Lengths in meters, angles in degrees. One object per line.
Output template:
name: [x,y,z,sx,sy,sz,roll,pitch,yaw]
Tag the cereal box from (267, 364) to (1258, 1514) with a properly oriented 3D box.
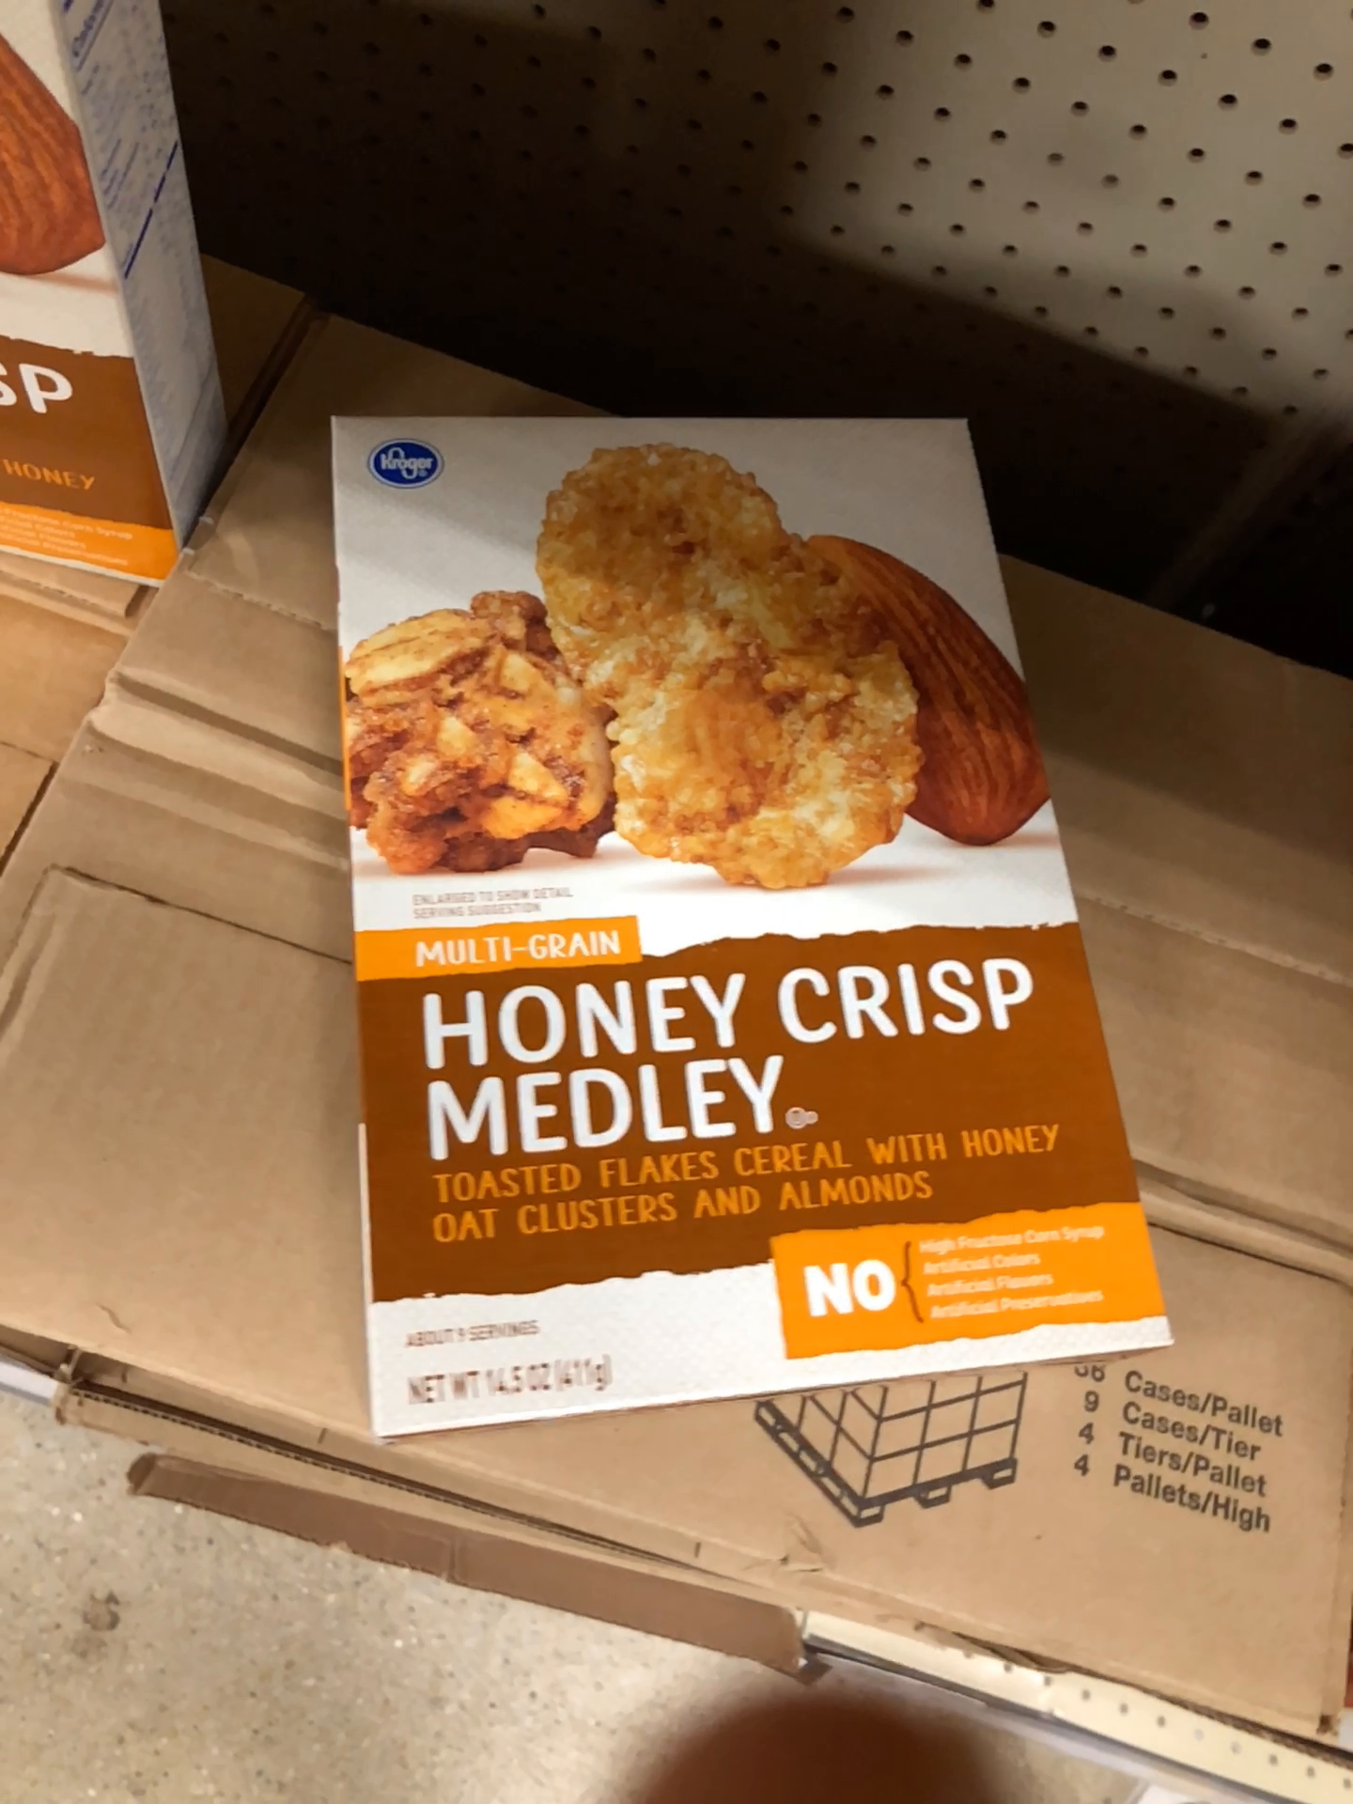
cereal box: [0.007,-0.004,0.379,0.200,0.060,0.270,-3,70,-11]
